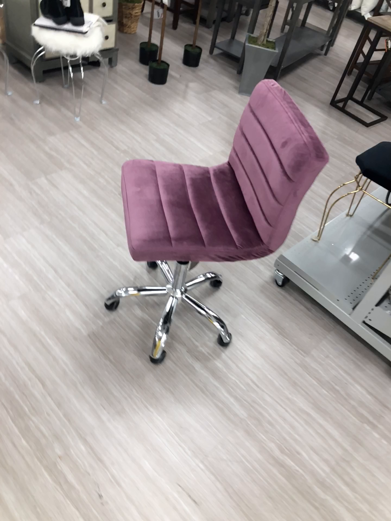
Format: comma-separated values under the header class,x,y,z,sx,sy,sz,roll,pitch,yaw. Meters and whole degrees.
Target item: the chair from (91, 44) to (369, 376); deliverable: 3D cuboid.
class,x,y,z,sx,sy,sz,roll,pitch,yaw
chair,-0.017,-0.129,1.374,0.578,0.800,0.589,-2,47,-17
